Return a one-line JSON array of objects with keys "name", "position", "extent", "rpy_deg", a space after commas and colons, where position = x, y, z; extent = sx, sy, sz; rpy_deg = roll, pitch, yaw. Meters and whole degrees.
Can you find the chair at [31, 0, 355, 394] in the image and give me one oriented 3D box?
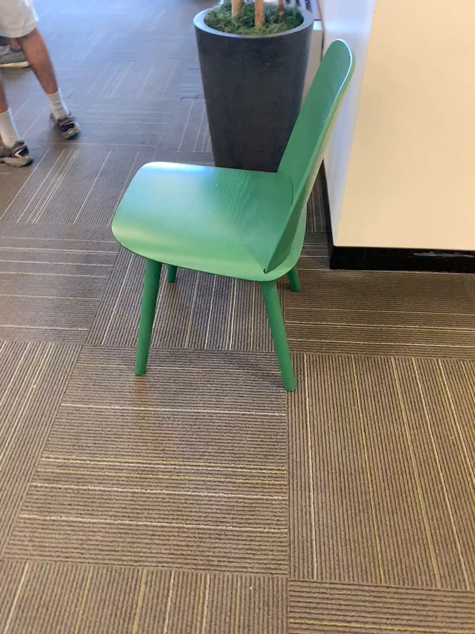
[{"name": "chair", "position": [-0.050, -0.267, 1.197], "extent": [0.500, 0.786, 0.503], "rpy_deg": [4, 46, 4]}]
